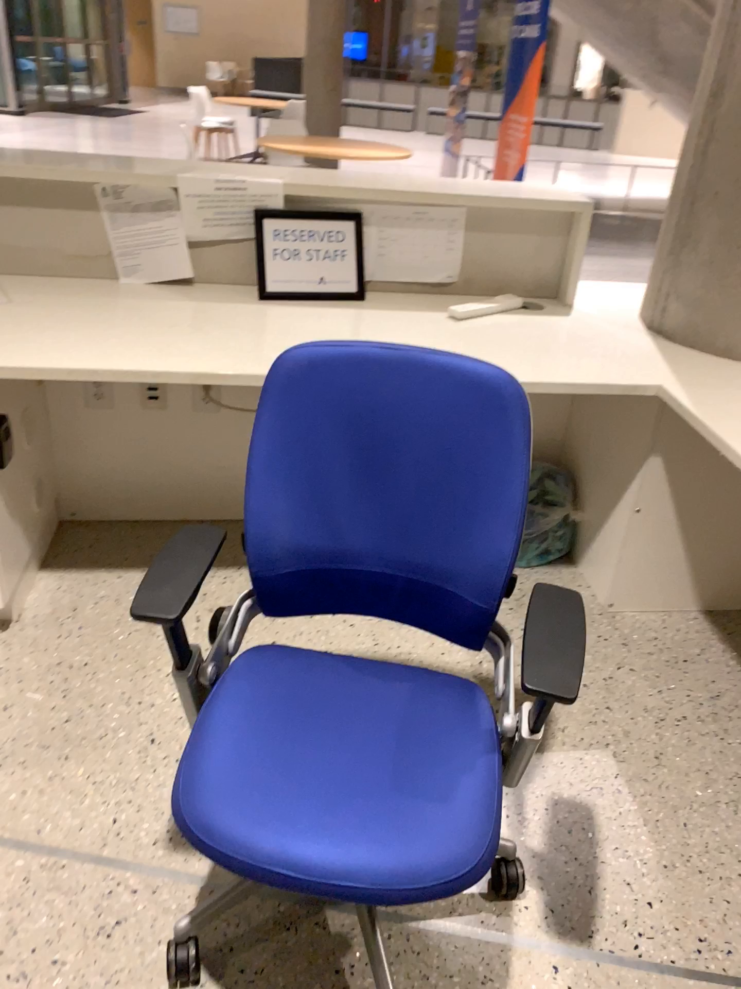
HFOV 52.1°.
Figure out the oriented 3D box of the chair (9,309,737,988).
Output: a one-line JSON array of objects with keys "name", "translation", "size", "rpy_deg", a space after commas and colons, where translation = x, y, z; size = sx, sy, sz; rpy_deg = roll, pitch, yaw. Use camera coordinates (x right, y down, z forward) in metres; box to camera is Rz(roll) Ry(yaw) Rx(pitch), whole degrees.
[{"name": "chair", "translation": [0.003, 0.282, 1.196], "size": [0.697, 0.906, 0.609], "rpy_deg": [9, 30, 7]}]
